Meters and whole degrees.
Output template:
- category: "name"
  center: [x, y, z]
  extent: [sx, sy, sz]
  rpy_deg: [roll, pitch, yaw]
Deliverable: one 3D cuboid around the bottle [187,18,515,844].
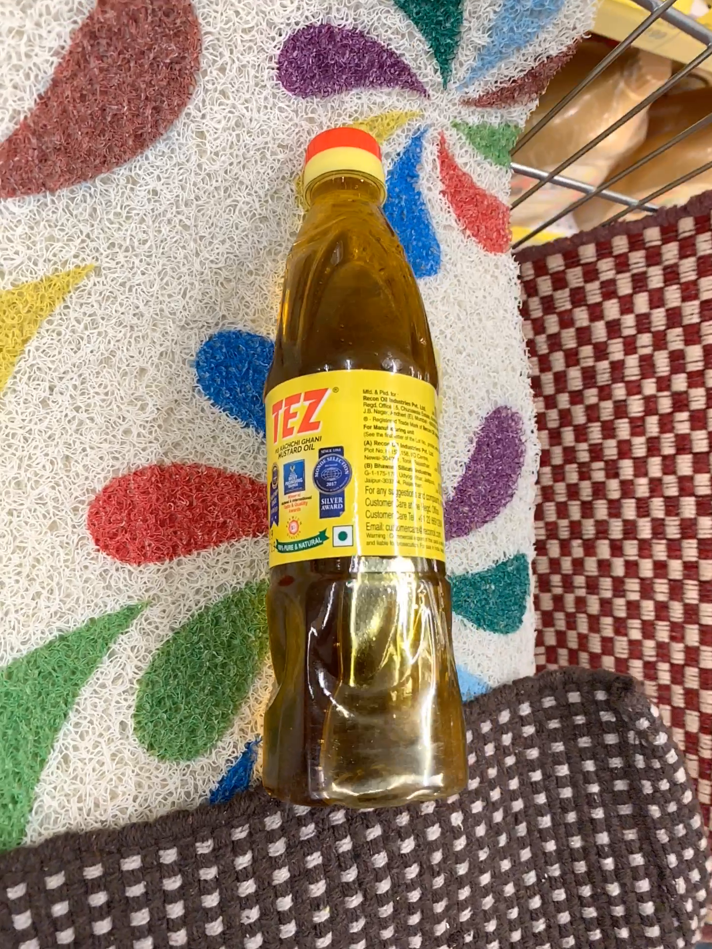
- category: "bottle"
  center: [-0.003, -0.012, 0.220]
  extent: [0.070, 0.060, 0.200]
  rpy_deg: [5, 81, -36]
